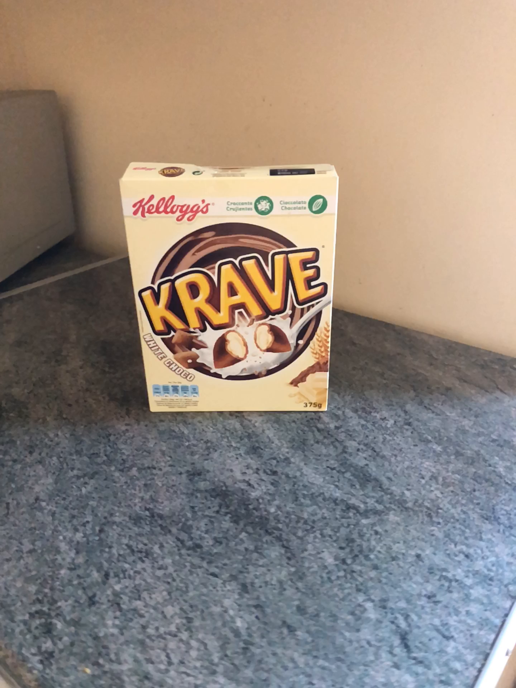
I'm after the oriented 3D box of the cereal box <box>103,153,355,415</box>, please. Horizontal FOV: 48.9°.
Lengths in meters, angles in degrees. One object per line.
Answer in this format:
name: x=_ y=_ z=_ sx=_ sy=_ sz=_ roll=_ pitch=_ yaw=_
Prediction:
cereal box: x=-0.027 y=-0.052 z=0.566 sx=0.210 sy=0.248 sz=0.070 roll=1 pitch=30 yaw=-2
